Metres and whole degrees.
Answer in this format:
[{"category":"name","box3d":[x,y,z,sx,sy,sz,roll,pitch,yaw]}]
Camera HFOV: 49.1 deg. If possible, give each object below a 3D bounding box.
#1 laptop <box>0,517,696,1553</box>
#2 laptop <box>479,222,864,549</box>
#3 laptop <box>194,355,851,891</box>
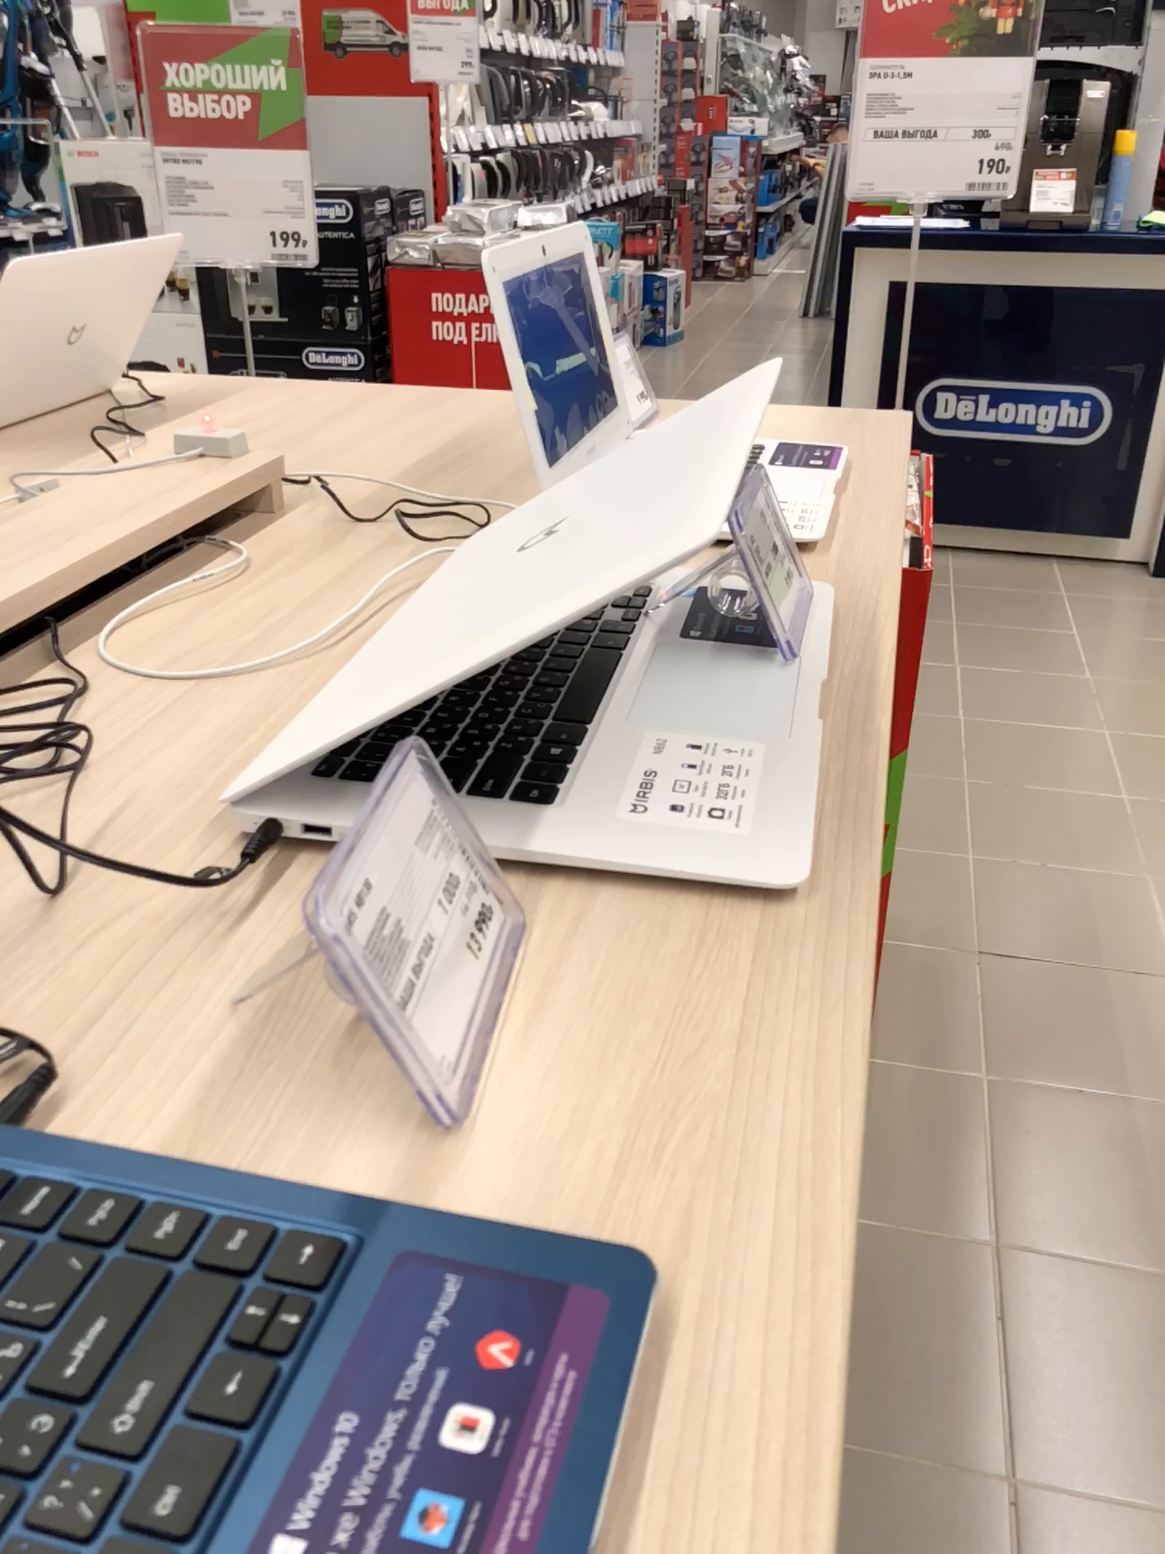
[{"category":"laptop","box3d":[-0.171,0.093,0.166,0.318,0.162,0.311,6,26,11]},{"category":"laptop","box3d":[0.075,-0.304,0.946,0.230,0.168,0.264,8,29,13]},{"category":"laptop","box3d":[0.007,-0.104,0.608,0.223,0.115,0.352,7,28,9]}]
